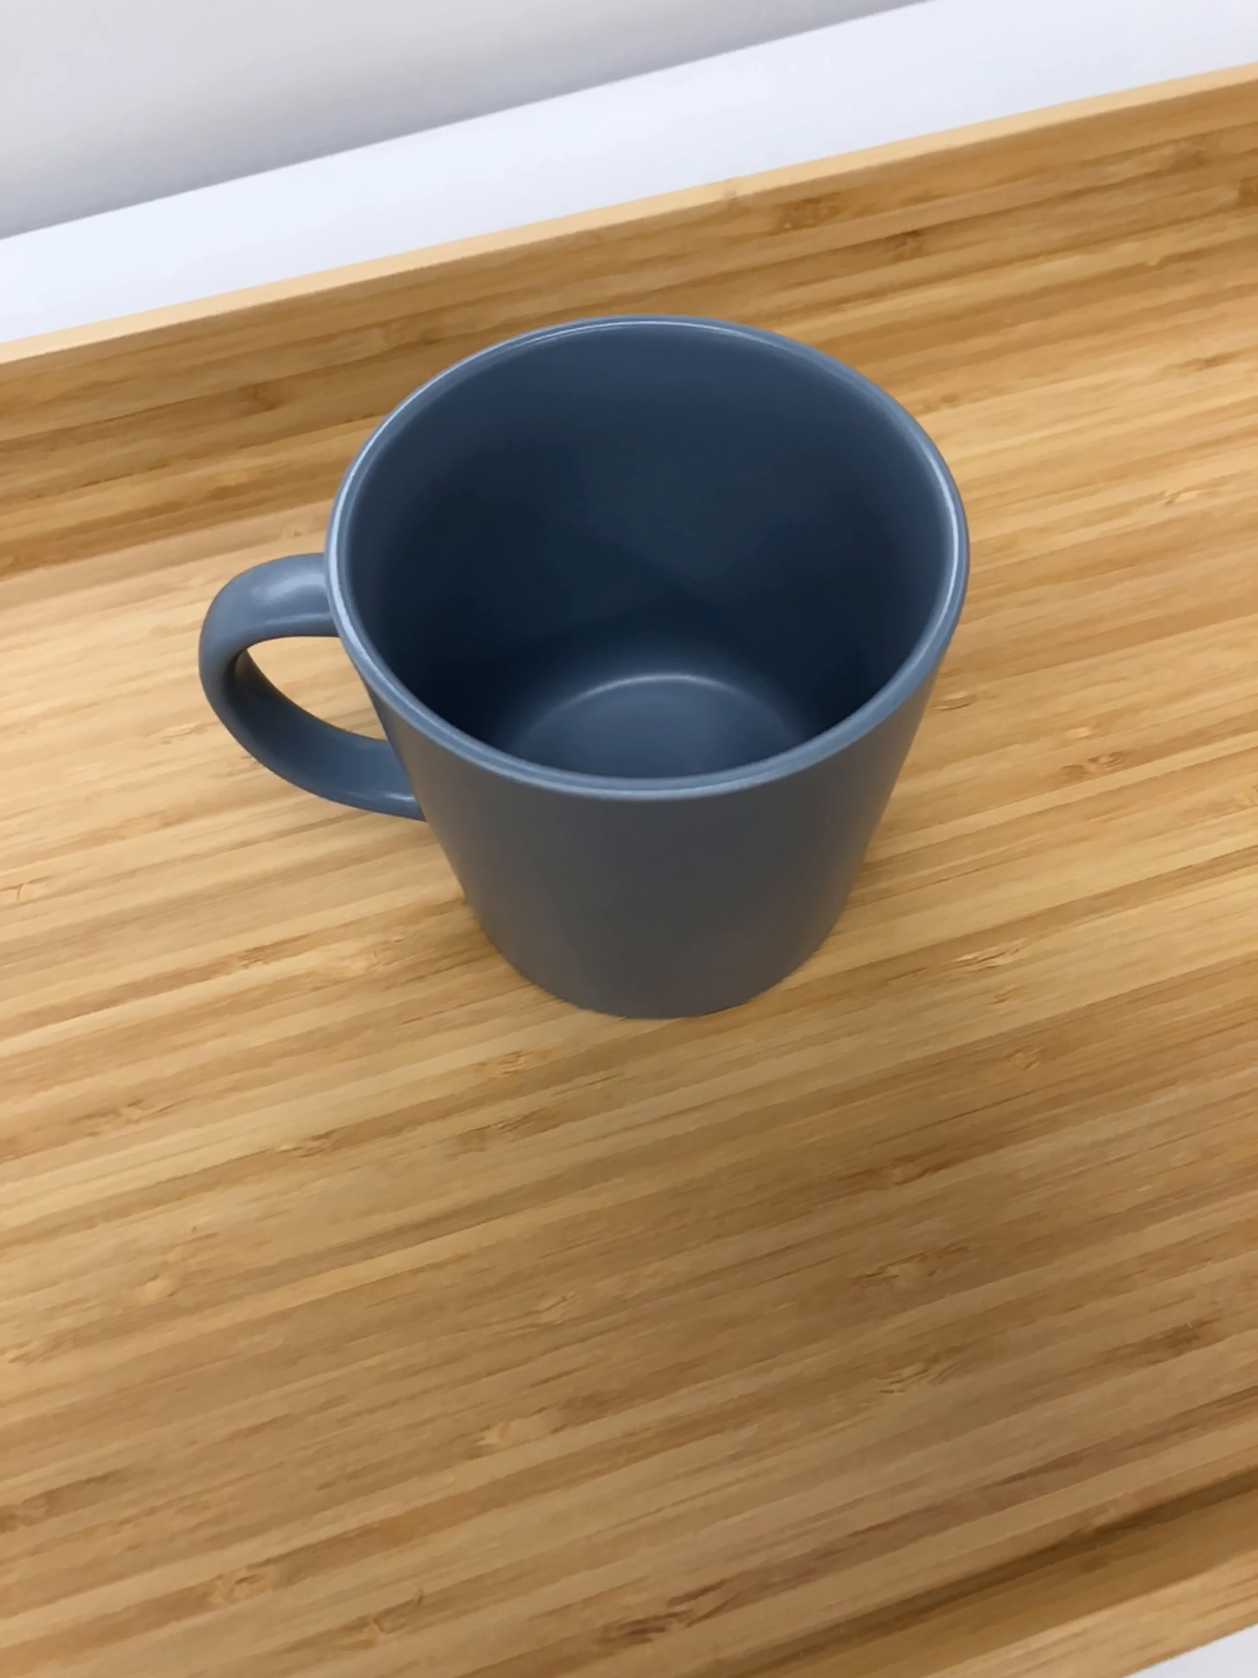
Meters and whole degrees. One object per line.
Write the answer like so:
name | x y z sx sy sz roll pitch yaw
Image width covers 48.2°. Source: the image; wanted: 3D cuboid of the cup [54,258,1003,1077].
cup | -0.008 -0.026 0.237 0.120 0.090 0.090 6 59 4
